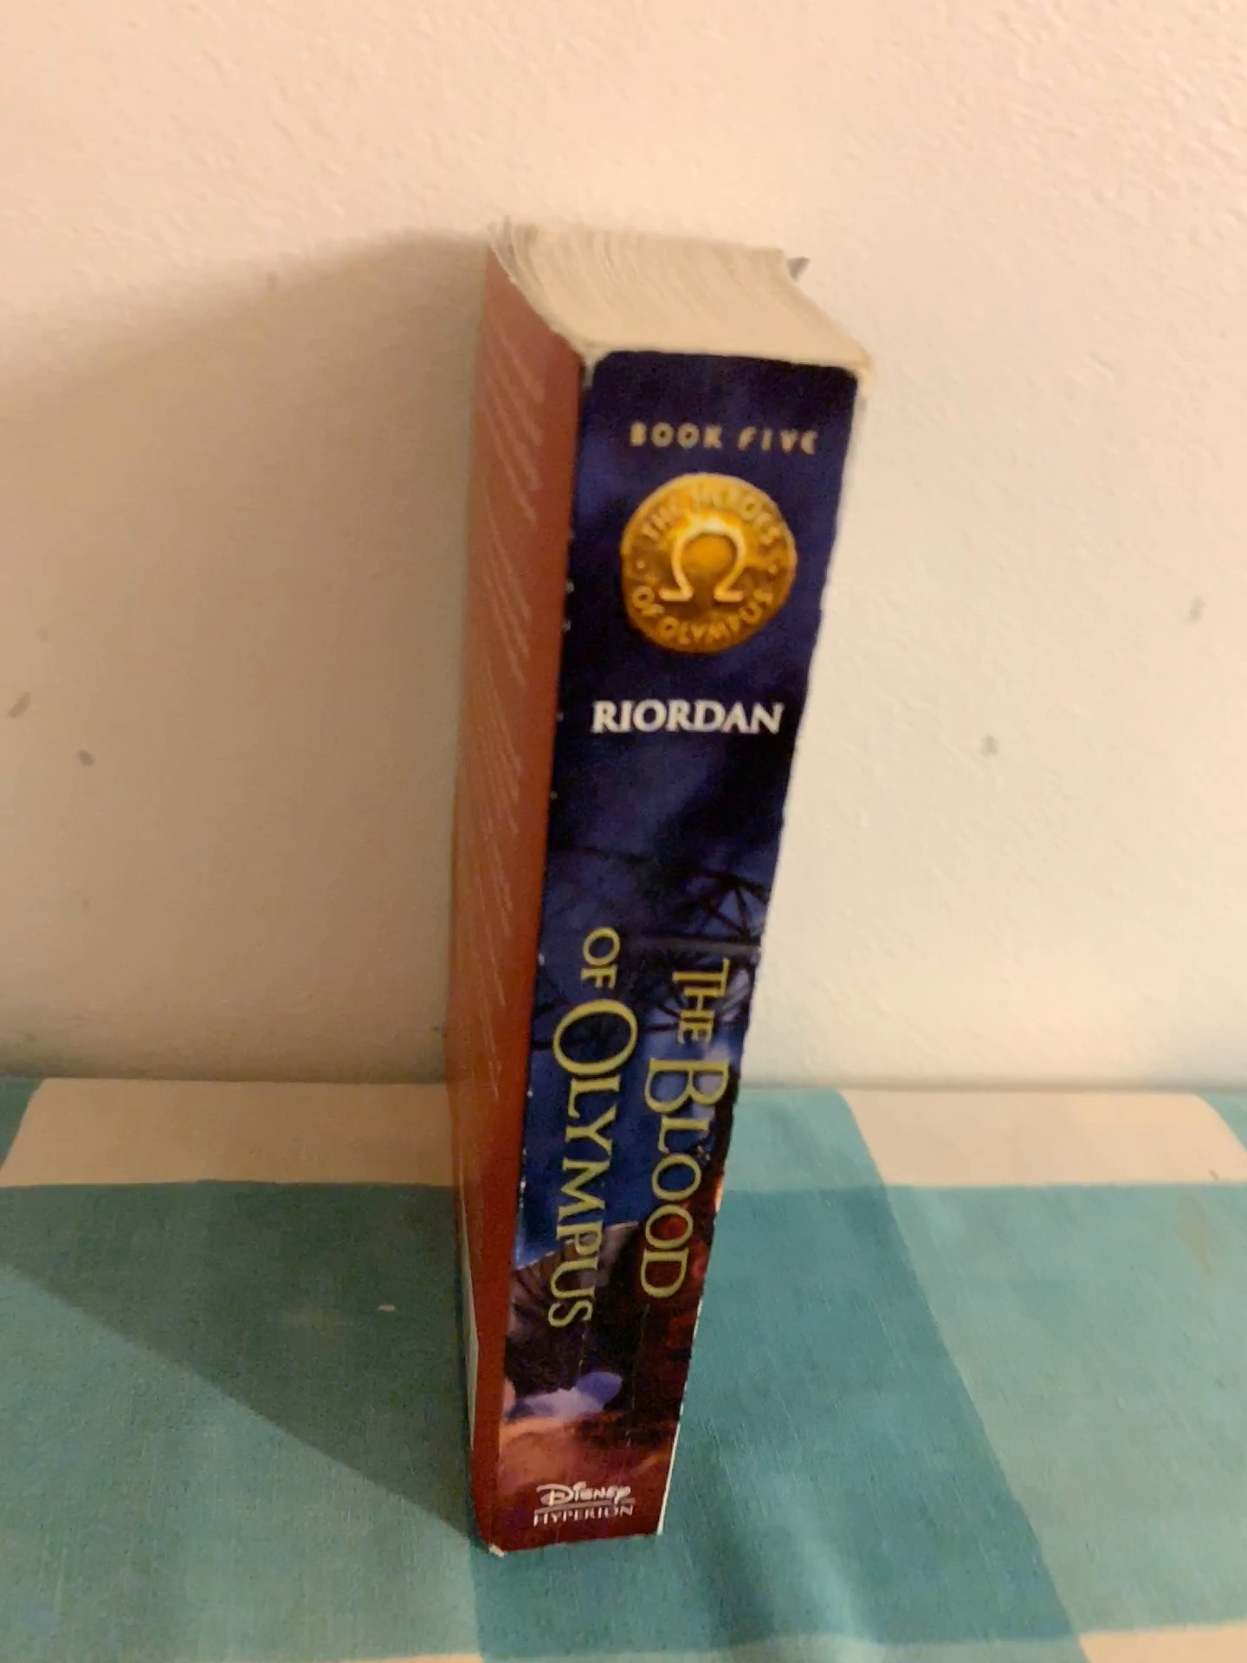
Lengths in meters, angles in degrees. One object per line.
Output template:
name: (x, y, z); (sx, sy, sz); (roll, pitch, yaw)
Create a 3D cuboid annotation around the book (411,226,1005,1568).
book: (-0.005, -0.001, 0.229); (0.050, 0.180, 0.151); (3, 27, -8)
